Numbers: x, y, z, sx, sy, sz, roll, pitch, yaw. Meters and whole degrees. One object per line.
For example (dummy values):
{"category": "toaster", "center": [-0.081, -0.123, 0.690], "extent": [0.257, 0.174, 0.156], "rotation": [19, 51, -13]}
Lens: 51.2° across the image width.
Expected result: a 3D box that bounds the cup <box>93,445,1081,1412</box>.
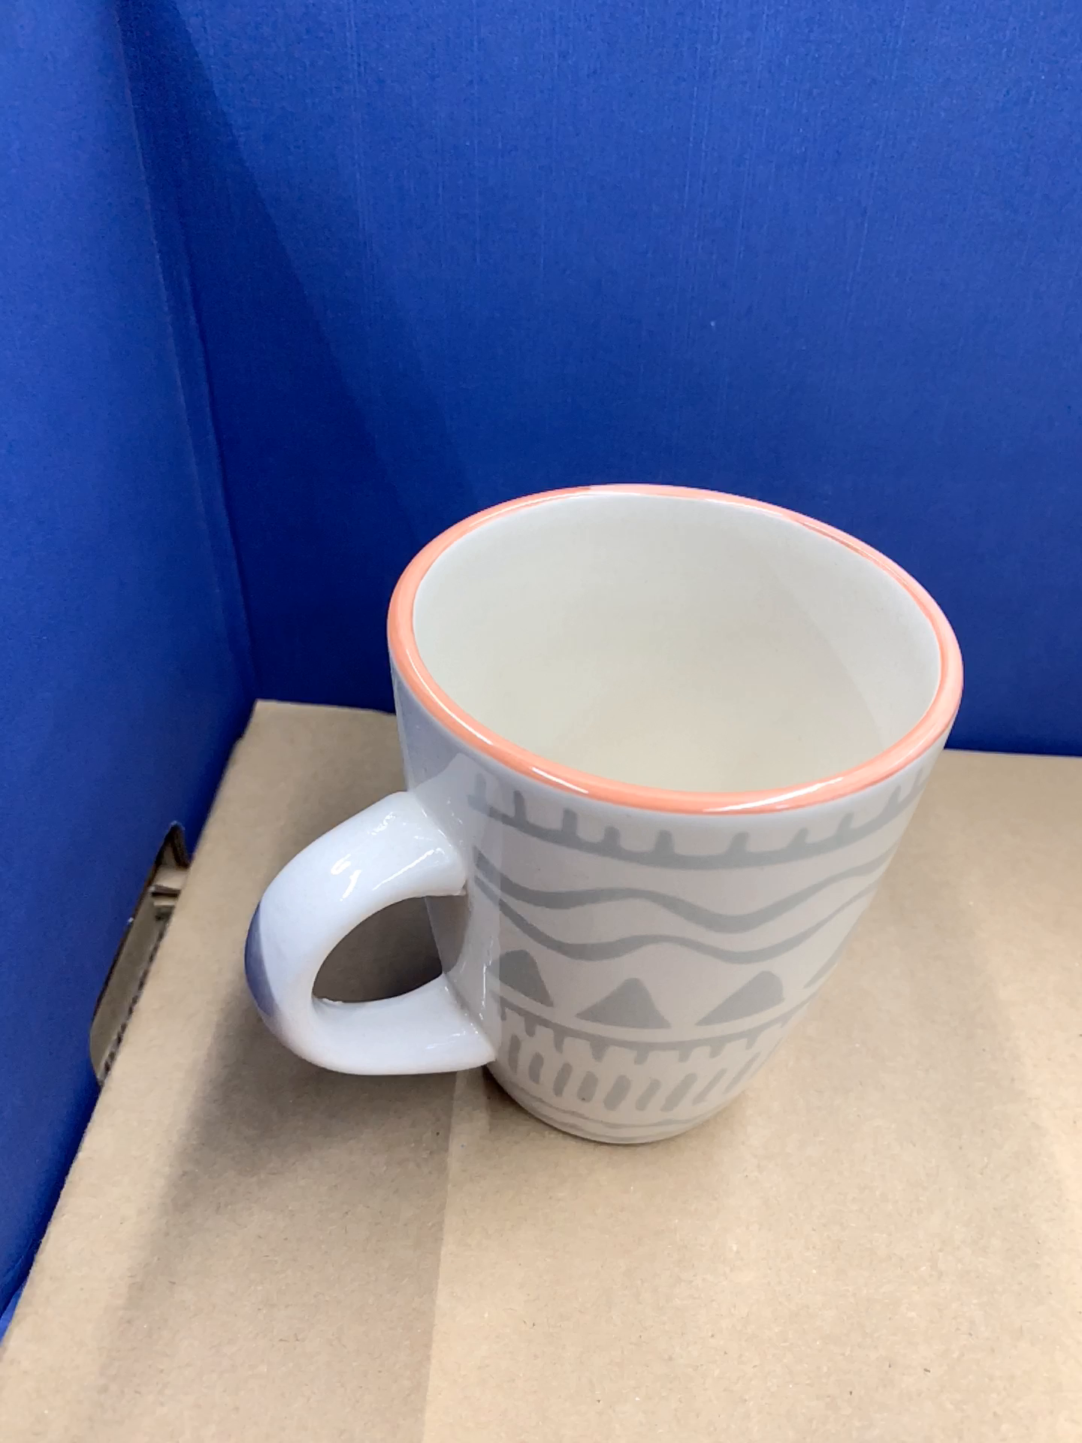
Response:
{"category": "cup", "center": [0.008, 0.021, 0.198], "extent": [0.119, 0.082, 0.097], "rotation": [-26, 45, -32]}
